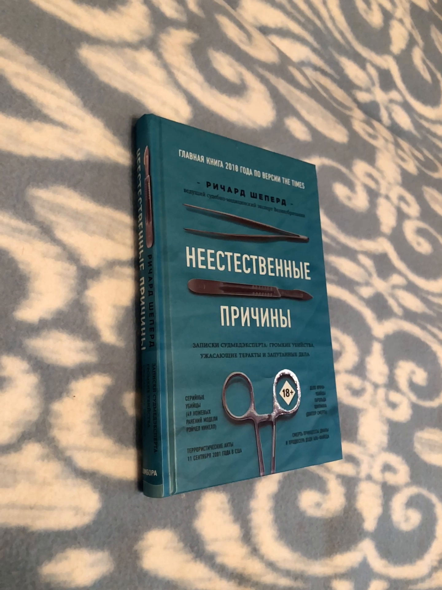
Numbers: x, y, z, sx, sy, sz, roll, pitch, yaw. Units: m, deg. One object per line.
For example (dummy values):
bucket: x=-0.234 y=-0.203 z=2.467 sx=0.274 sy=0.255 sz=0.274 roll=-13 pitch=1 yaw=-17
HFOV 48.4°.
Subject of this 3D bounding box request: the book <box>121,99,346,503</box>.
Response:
book: x=0.012 y=0.002 z=0.316 sx=0.149 sy=0.025 sz=0.218 roll=5 pitch=78 yaw=-37
